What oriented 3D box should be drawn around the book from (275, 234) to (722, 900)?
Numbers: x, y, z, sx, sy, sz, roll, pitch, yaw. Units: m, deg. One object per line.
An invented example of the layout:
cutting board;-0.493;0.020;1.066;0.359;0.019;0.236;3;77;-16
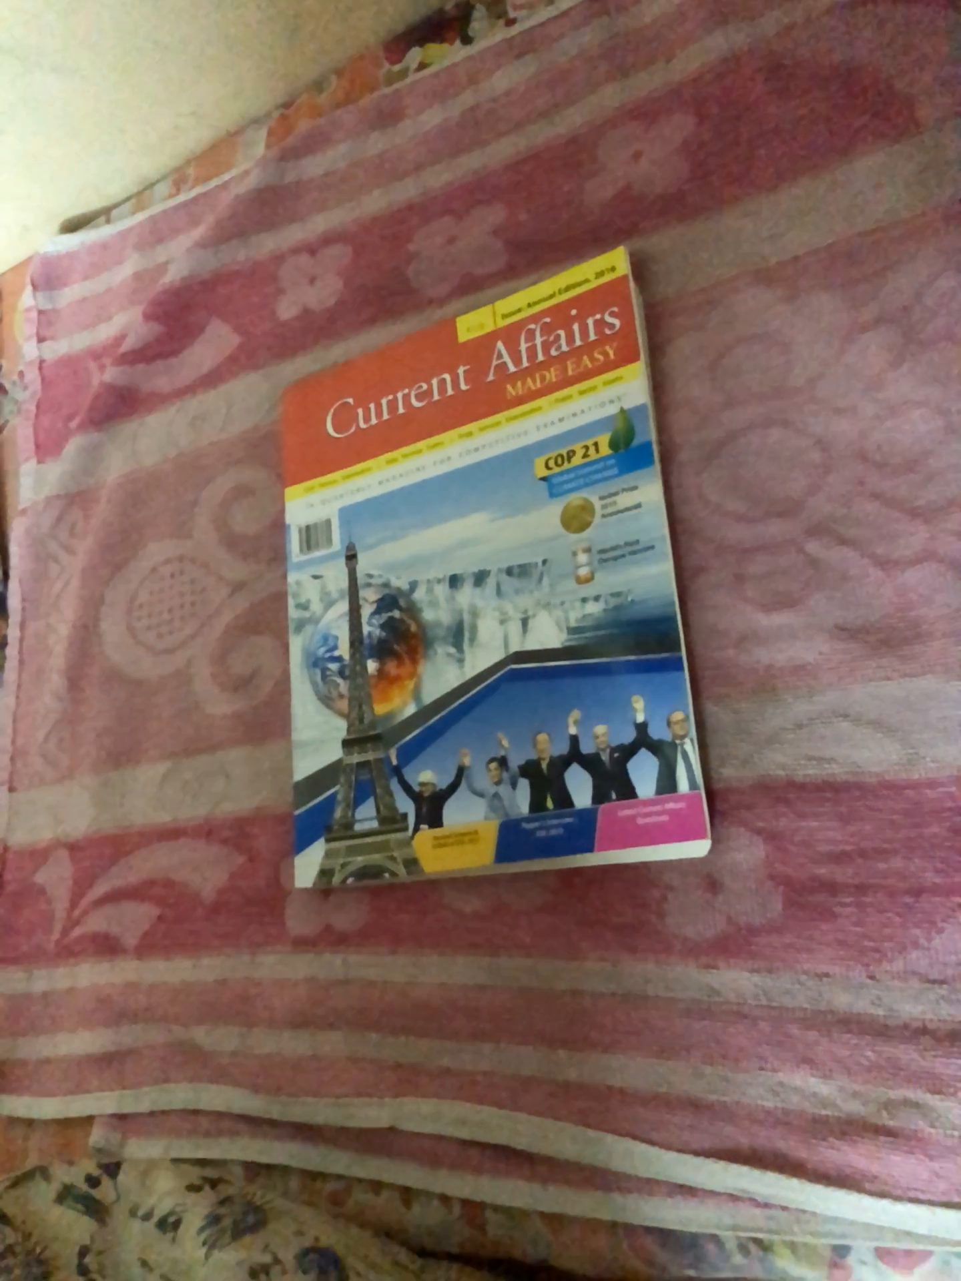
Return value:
book;-0.008;-0.027;0.491;0.206;0.025;0.270;-13;71;30
